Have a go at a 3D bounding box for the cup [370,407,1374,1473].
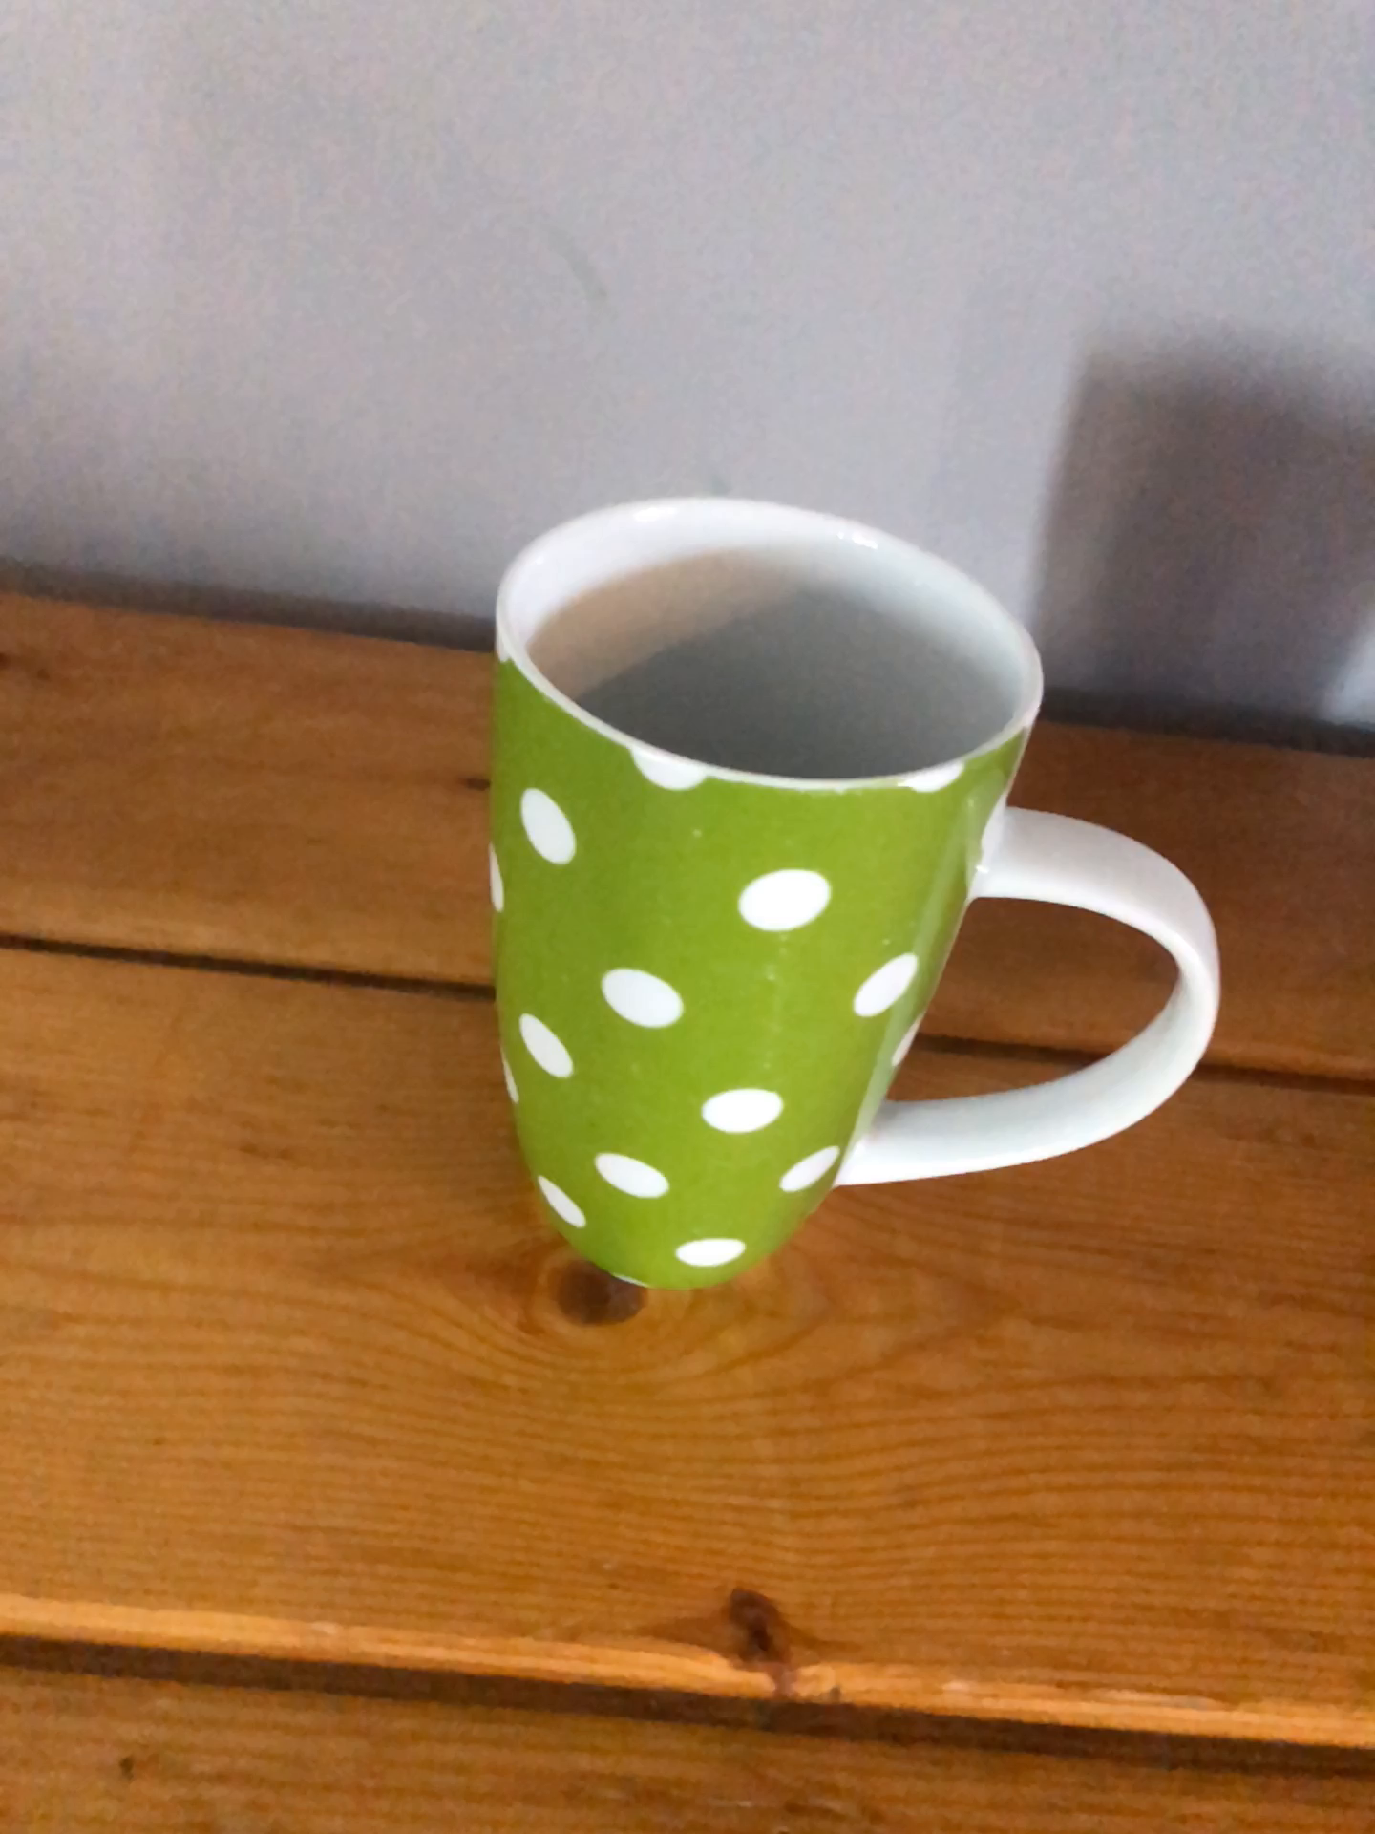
[{"bbox_3d":[0.030,0.009,0.294,0.150,0.150,0.100,12,44,3],"label":"cup"}]
